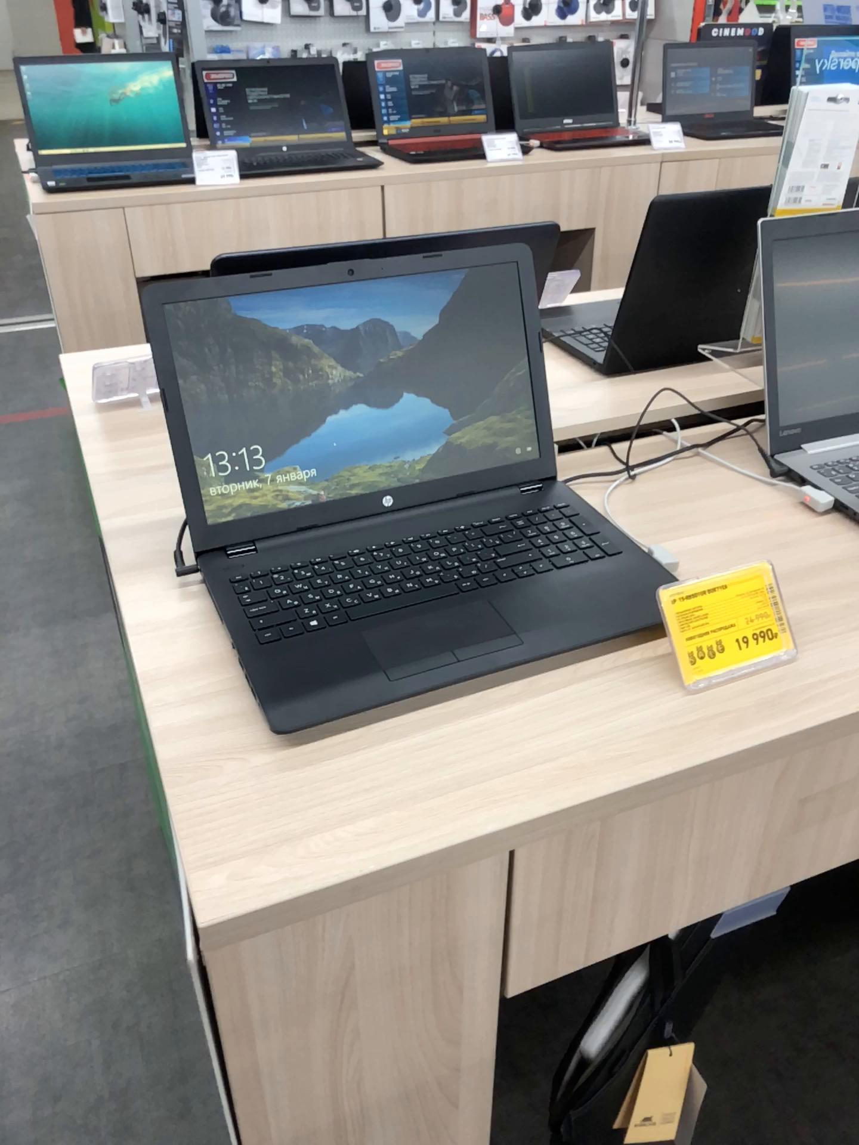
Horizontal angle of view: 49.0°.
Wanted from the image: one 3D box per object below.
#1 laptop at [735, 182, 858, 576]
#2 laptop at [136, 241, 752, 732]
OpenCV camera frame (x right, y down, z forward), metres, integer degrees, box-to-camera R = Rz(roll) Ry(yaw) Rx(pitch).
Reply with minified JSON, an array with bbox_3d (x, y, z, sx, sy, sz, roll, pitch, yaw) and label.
[{"bbox_3d":[0.584,-0.223,0.957,0.371,0.226,0.340,-12,35,-16],"label":"laptop"},{"bbox_3d":[-0.010,-0.108,0.795,0.377,0.217,0.343,-13,35,-20],"label":"laptop"}]
